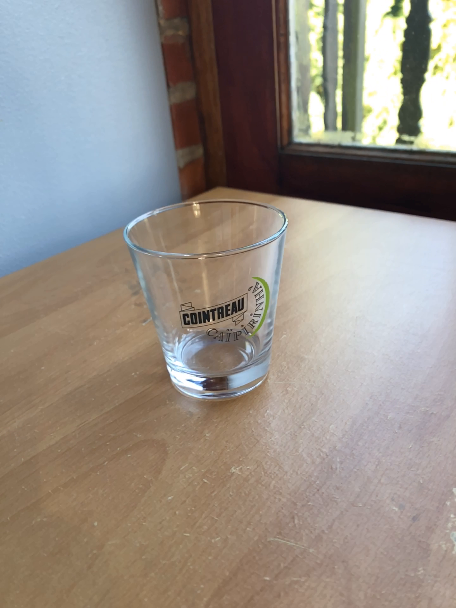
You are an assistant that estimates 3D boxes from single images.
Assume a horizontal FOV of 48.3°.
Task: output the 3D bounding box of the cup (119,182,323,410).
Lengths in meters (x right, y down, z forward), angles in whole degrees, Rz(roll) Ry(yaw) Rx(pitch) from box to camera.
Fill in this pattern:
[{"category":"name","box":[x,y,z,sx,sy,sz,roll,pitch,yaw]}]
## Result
[{"category":"cup","box":[-0.003,-0.008,0.246,0.079,0.073,0.076,-4,28,2]}]
